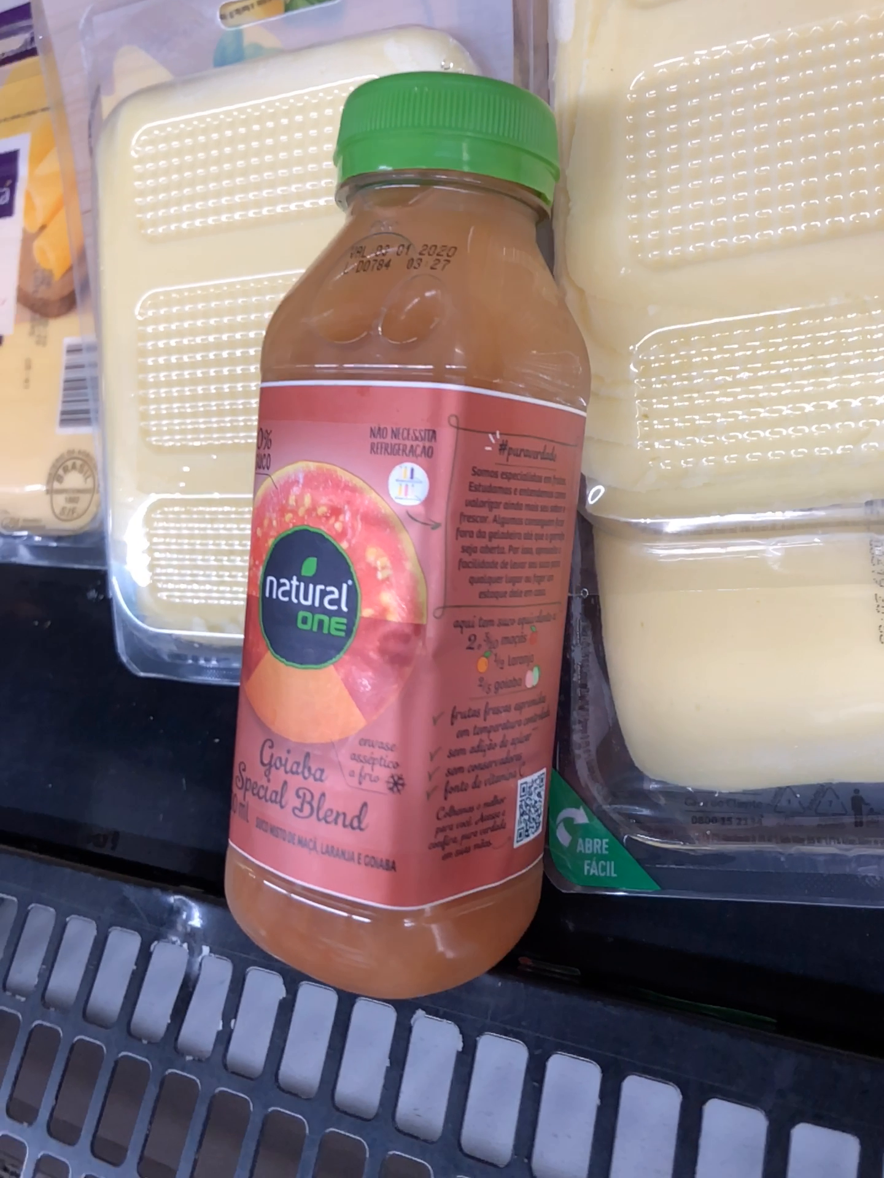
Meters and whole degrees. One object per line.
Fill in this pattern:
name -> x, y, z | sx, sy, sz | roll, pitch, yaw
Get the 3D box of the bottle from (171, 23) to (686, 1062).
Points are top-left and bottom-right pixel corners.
bottle -> 0.001, -0.009, 0.215 | 0.060, 0.070, 0.180 | 8, 90, 31
